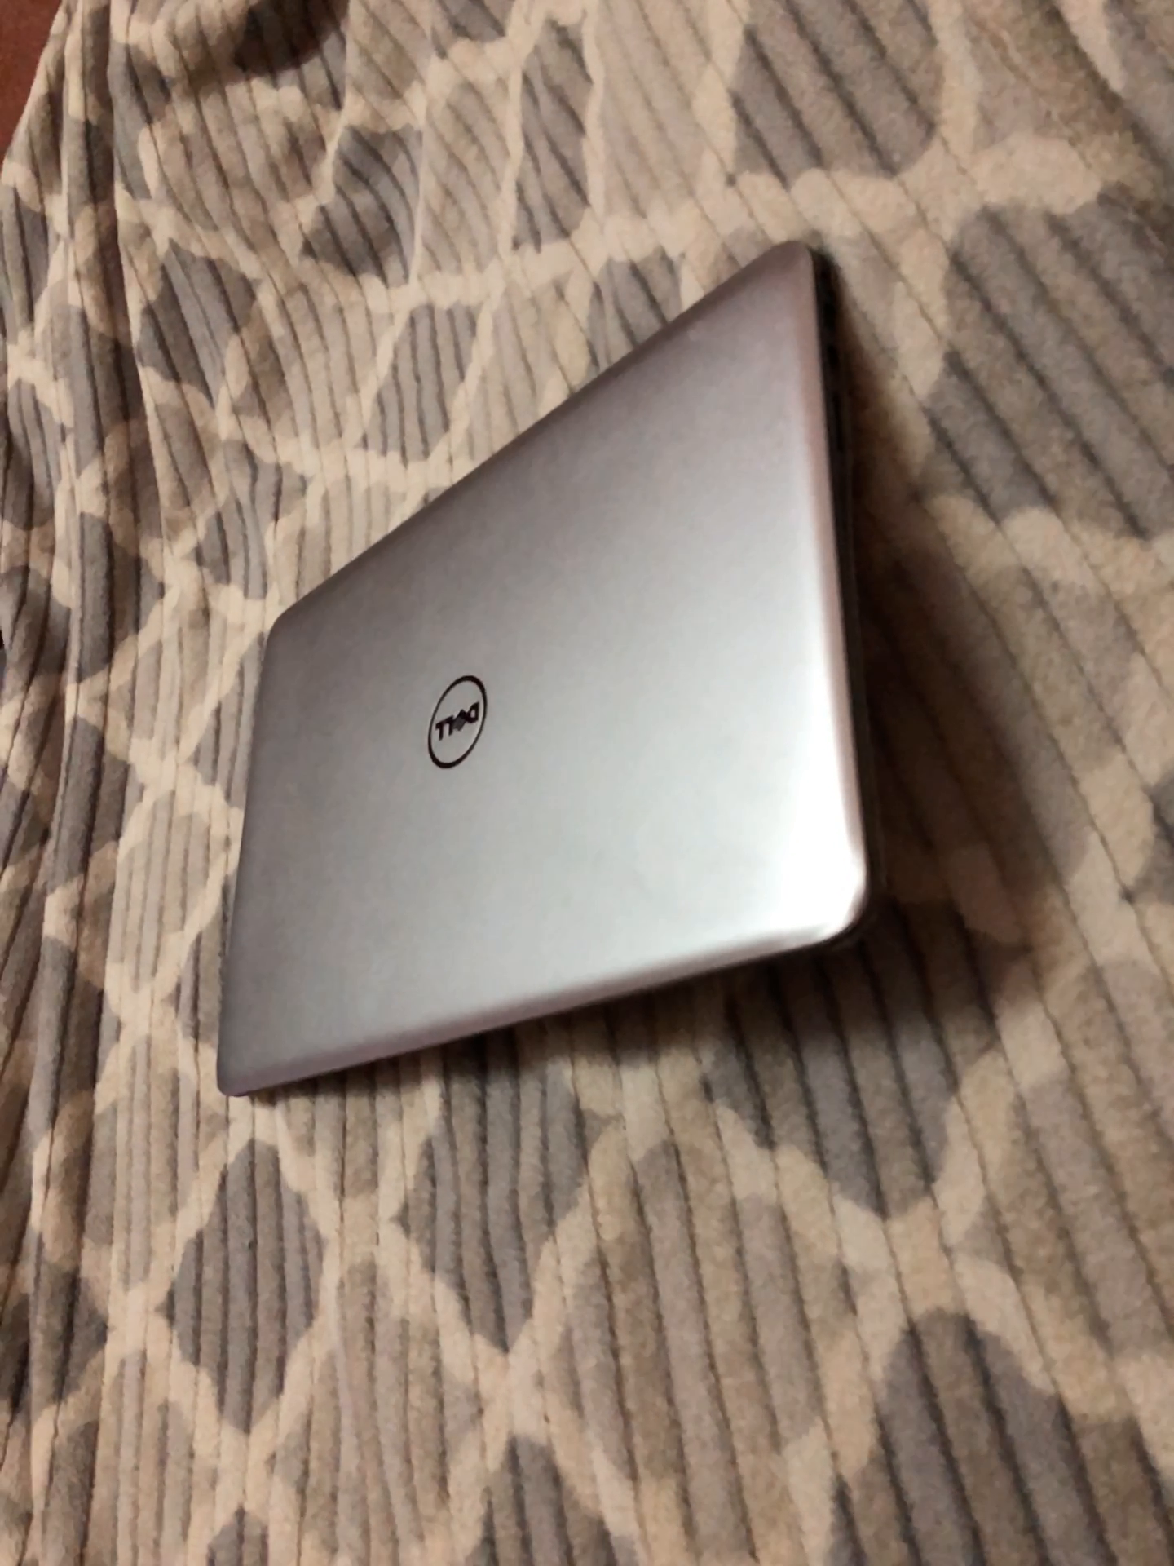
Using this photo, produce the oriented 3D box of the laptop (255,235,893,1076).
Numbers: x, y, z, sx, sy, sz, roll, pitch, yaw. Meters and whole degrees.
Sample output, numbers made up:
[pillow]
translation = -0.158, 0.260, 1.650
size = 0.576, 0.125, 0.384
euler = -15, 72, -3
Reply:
[laptop]
translation = -0.036, -0.029, 0.541
size = 0.360, 0.007, 0.252
euler = -24, 58, 43
